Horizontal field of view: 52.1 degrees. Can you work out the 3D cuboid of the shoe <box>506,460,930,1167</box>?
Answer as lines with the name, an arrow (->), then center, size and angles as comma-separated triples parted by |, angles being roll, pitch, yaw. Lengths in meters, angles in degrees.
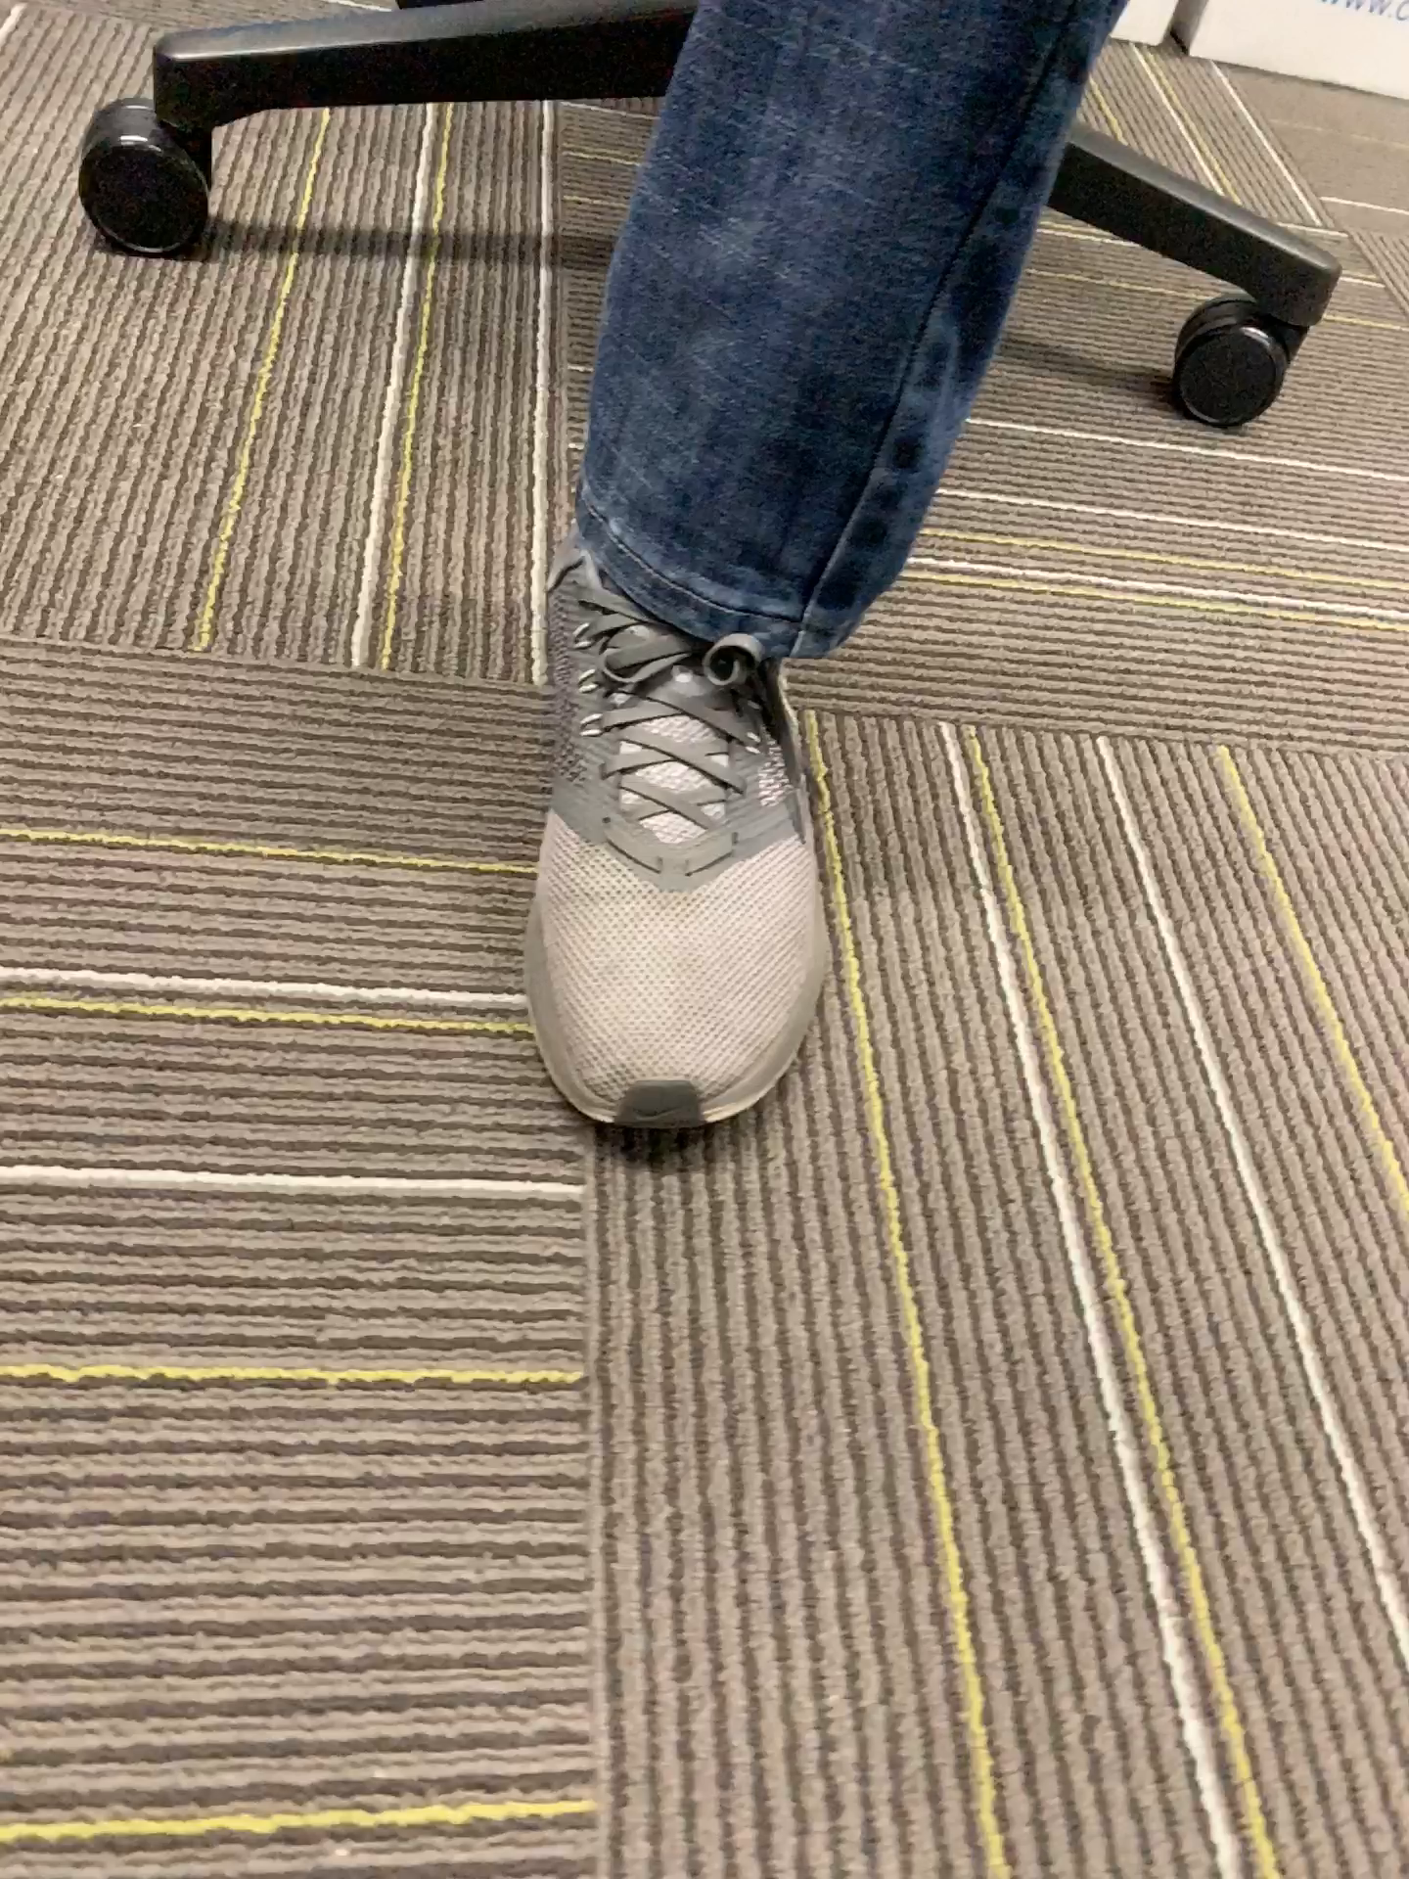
shoe -> -0.004, -0.058, 0.541 | 0.120, 0.085, 0.270 | 5, 50, -10
